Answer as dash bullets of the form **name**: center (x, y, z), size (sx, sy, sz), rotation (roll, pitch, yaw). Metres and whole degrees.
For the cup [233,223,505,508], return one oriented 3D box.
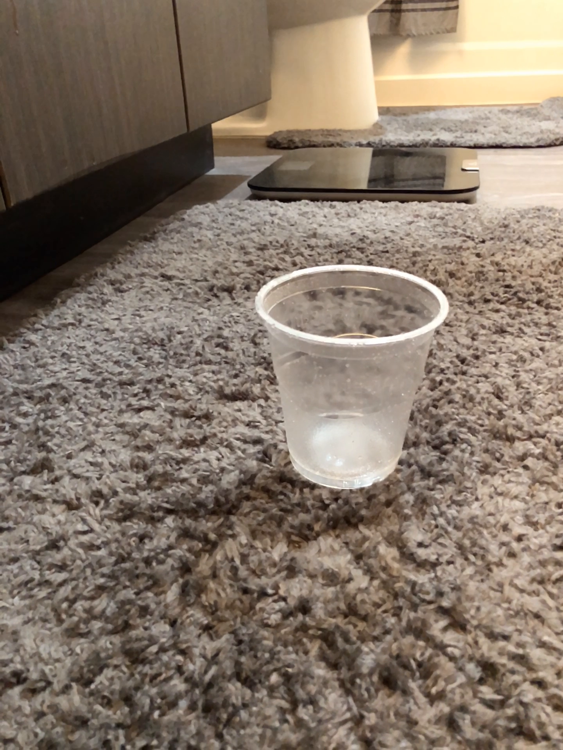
- **cup**: center (0.043, -0.012, 0.299), size (0.090, 0.090, 0.090), rotation (-2, 28, 1)
